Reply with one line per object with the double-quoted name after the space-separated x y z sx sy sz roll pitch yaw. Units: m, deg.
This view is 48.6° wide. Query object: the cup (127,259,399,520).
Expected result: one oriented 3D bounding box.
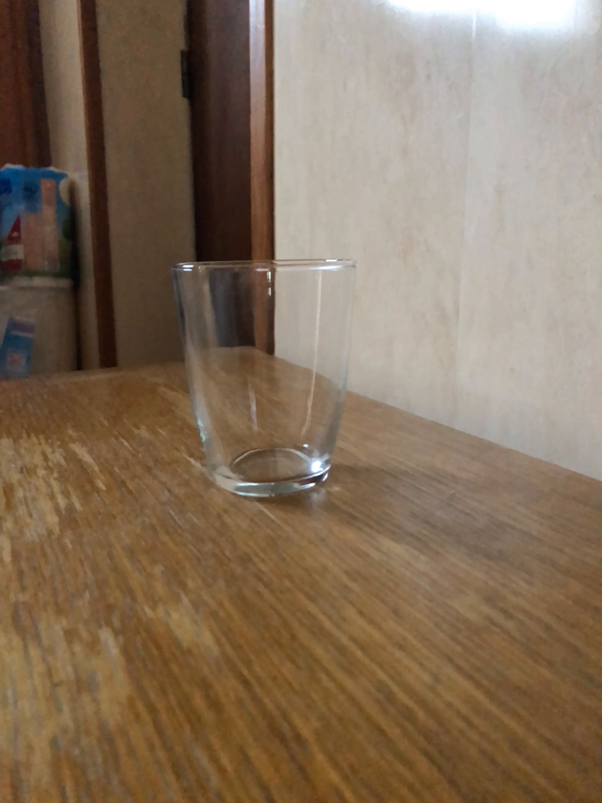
-0.014 -0.013 0.251 0.070 0.080 0.070 0 12 0 "cup"
